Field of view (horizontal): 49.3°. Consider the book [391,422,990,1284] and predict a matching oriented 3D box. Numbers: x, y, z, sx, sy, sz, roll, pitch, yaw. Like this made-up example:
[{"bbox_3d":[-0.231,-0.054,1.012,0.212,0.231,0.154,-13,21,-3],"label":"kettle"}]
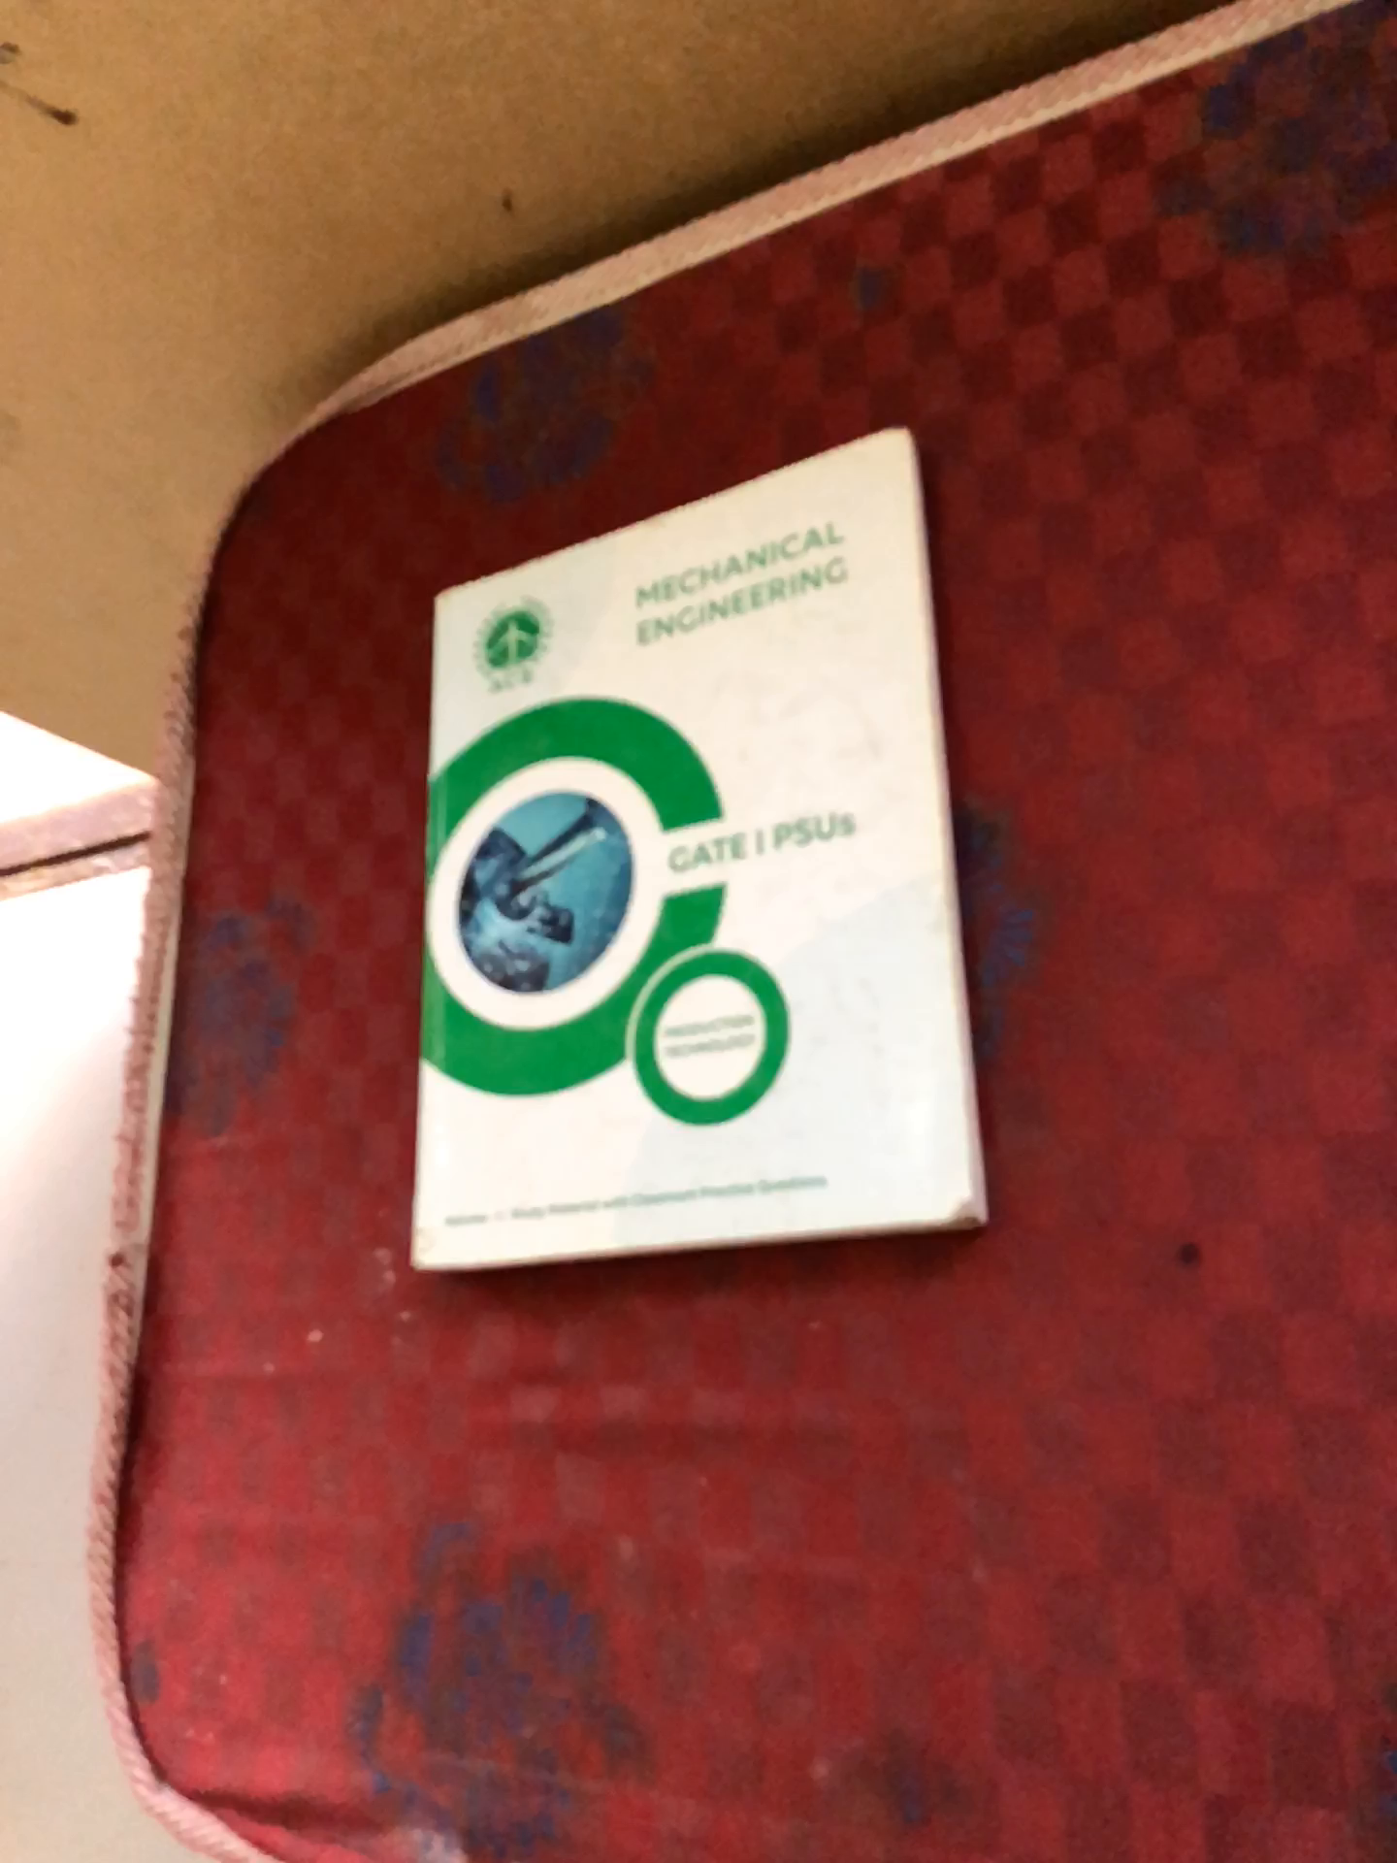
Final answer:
[{"bbox_3d":[-0.012,-0.024,0.549,0.211,0.030,0.280,-11,69,27],"label":"book"}]
